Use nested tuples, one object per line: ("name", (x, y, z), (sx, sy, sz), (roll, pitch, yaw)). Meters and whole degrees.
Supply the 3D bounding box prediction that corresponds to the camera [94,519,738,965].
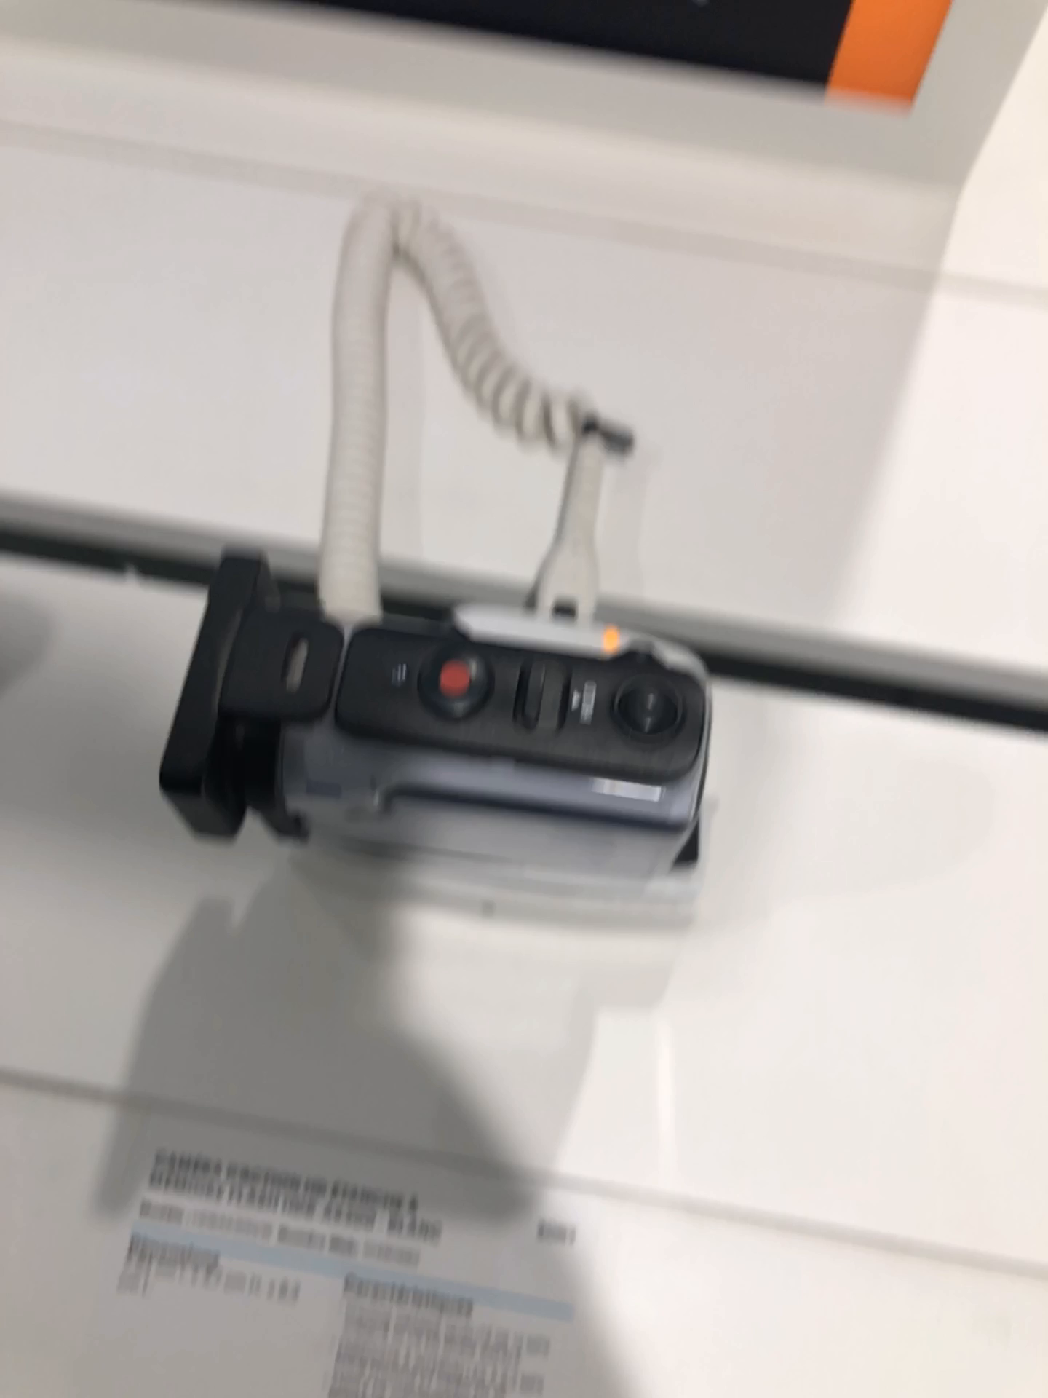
("camera", (-0.015, 0.009, 0.204), (0.093, 0.044, 0.049), (9, 64, 2))
